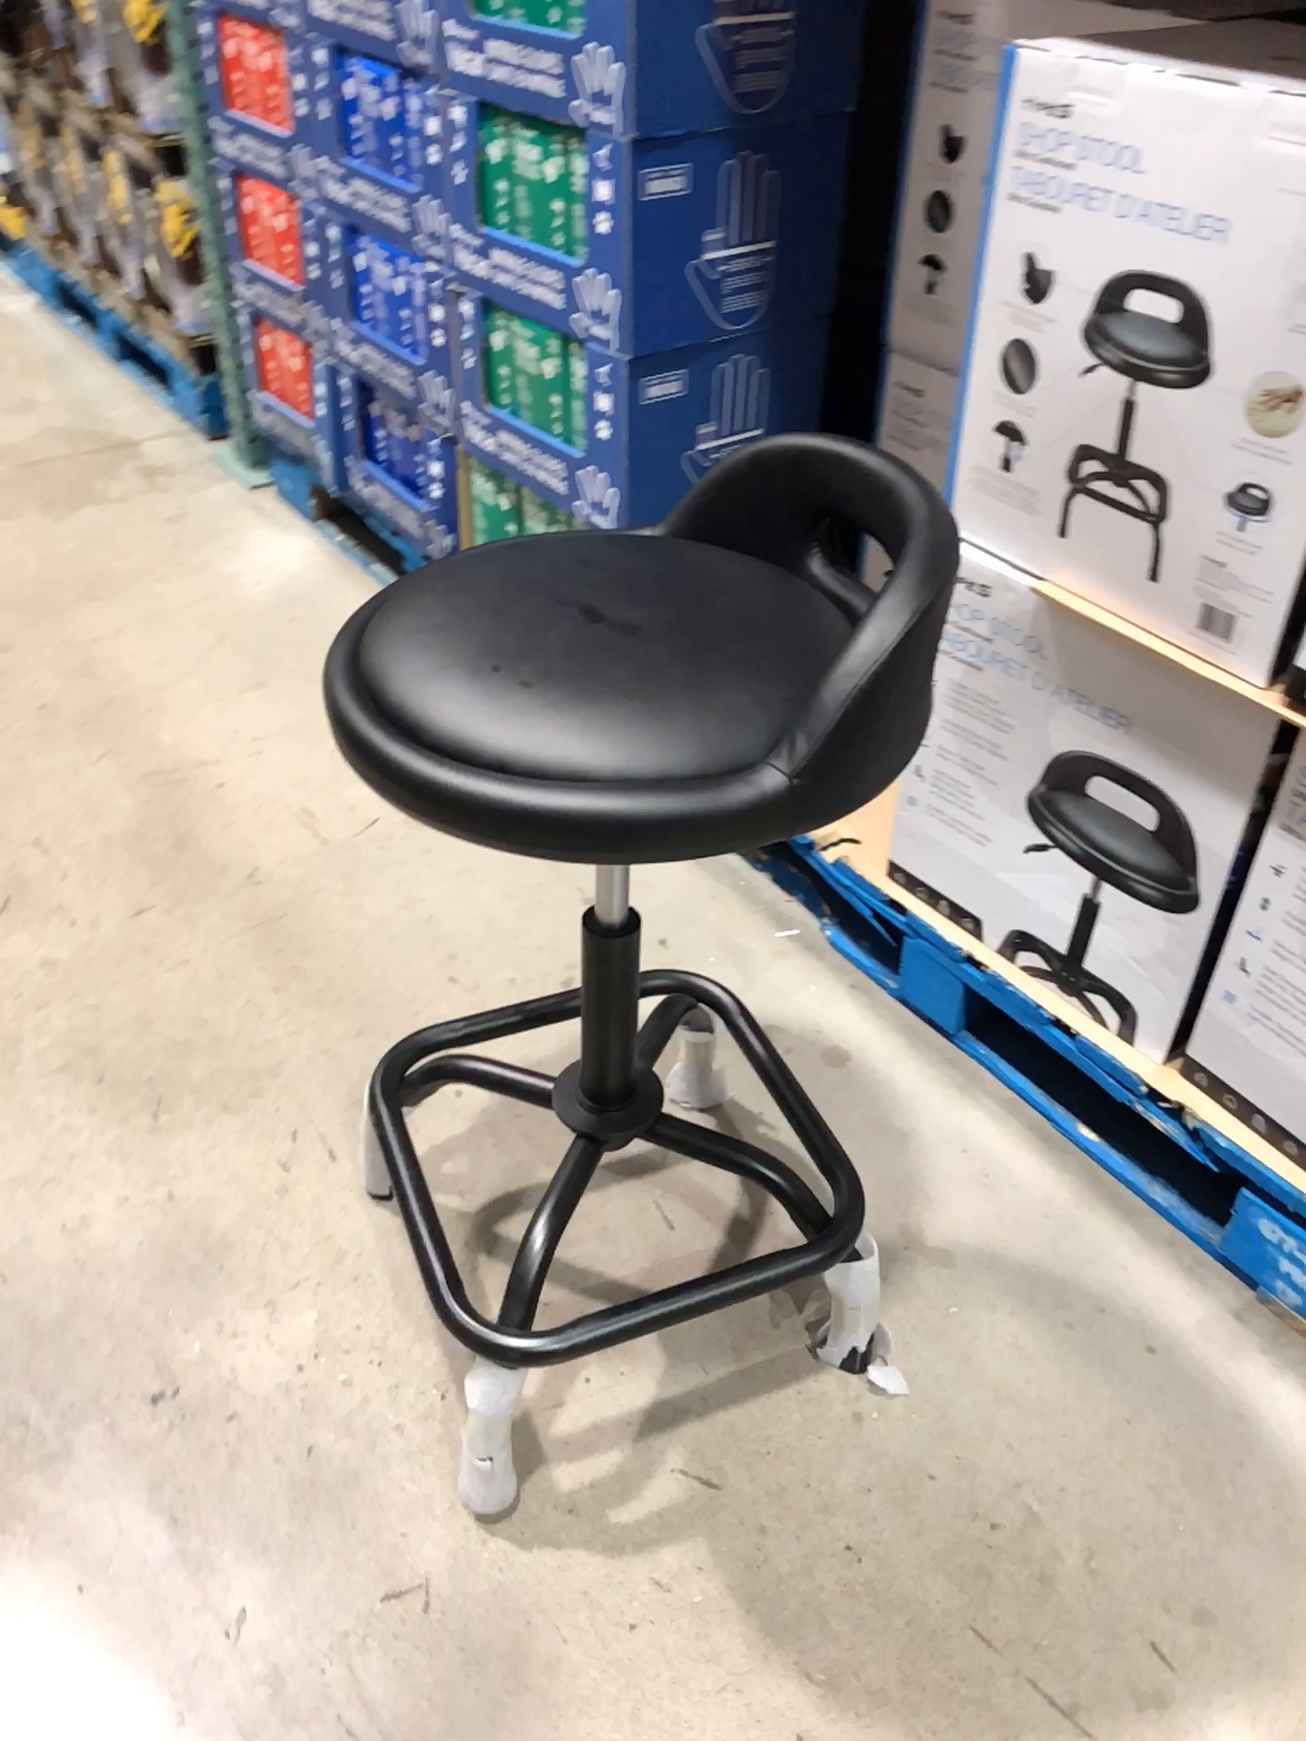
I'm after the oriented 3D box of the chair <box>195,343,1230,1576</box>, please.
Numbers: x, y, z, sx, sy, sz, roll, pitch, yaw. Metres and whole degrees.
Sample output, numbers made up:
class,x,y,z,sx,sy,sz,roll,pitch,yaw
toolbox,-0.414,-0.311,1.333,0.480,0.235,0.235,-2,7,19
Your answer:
class,x,y,z,sx,sy,sz,roll,pitch,yaw
chair,-0.007,0.056,1.139,0.510,0.747,0.482,-13,39,-18
